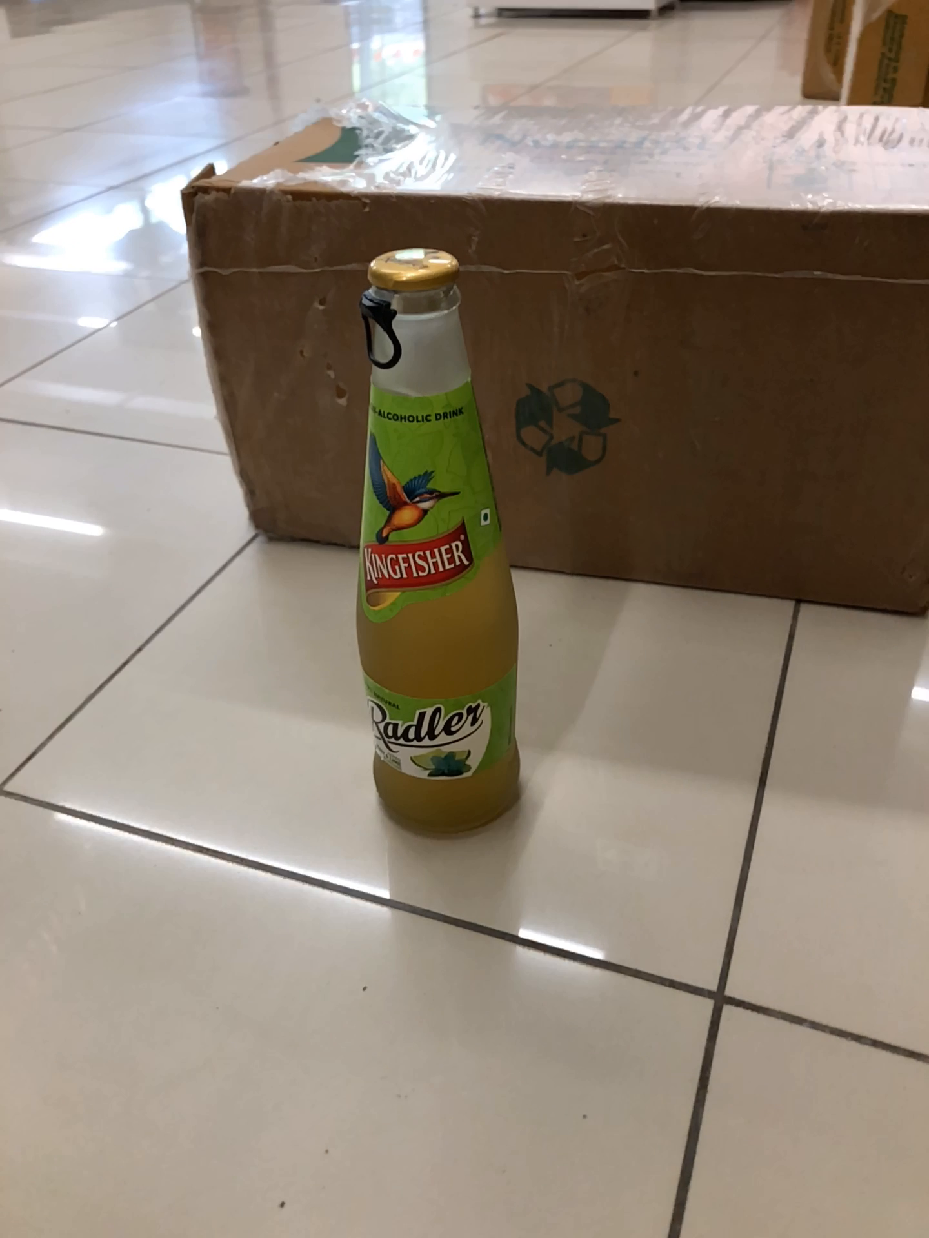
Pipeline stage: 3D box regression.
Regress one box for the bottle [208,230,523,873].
[{"bbox_3d":[-0.022,-0.014,0.350,0.070,0.209,0.060,10,37,17],"label":"bottle"}]
